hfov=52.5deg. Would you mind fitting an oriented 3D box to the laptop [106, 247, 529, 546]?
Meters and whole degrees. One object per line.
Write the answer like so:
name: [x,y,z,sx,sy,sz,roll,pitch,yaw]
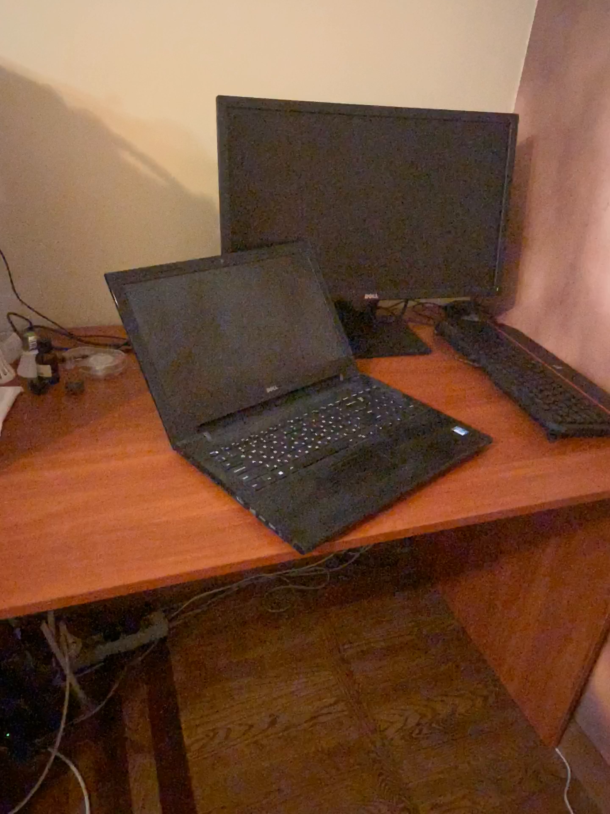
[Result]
laptop: [0.004,-0.060,0.819,0.357,0.181,0.393,-20,36,-38]
